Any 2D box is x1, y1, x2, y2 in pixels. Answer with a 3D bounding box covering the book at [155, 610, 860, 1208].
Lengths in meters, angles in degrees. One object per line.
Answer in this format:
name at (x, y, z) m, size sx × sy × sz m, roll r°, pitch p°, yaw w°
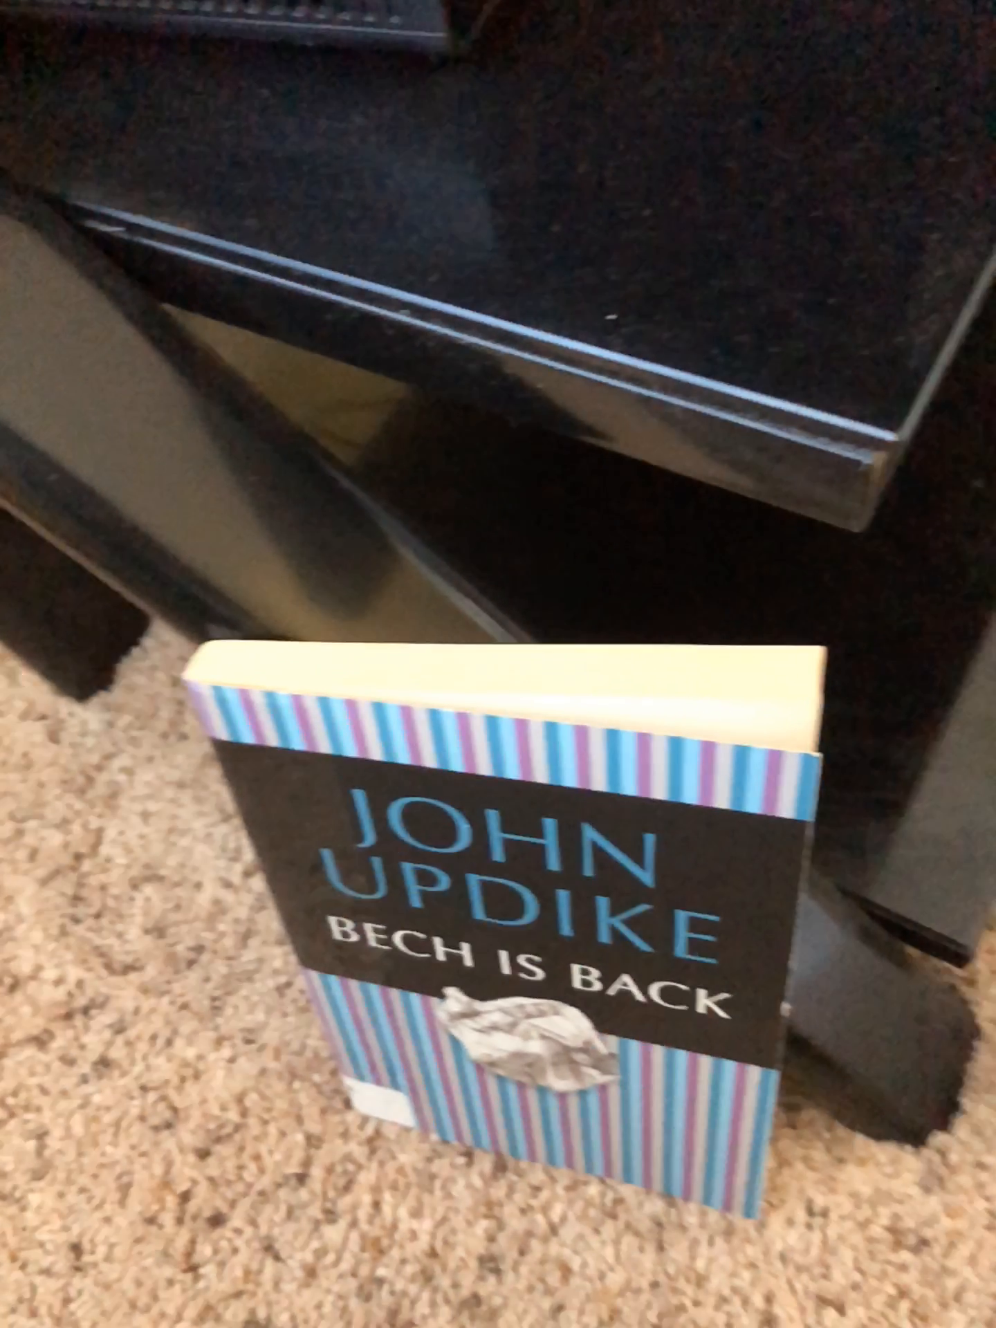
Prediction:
book at (0.013, 0.075, 0.287) m, size 0.135 × 0.201 × 0.030 m, roll 5°, pitch 47°, yaw 16°
